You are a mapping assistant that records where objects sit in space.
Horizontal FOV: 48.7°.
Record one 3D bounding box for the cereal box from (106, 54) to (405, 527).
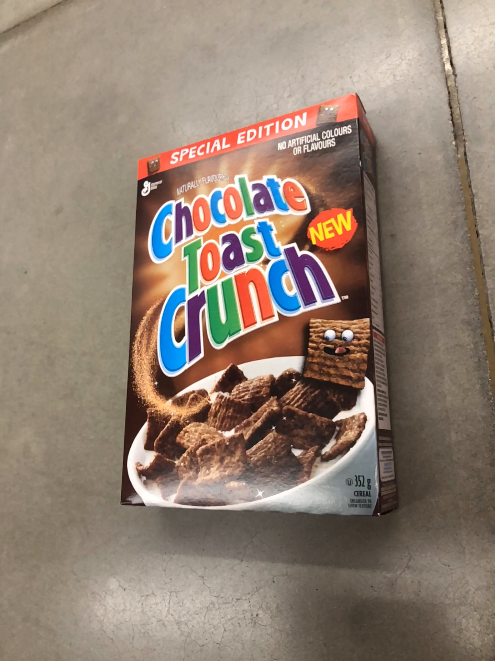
[{"bbox_3d":[0.004,-0.024,0.410,0.190,0.070,0.310,-7,72,26],"label":"cereal box"}]
